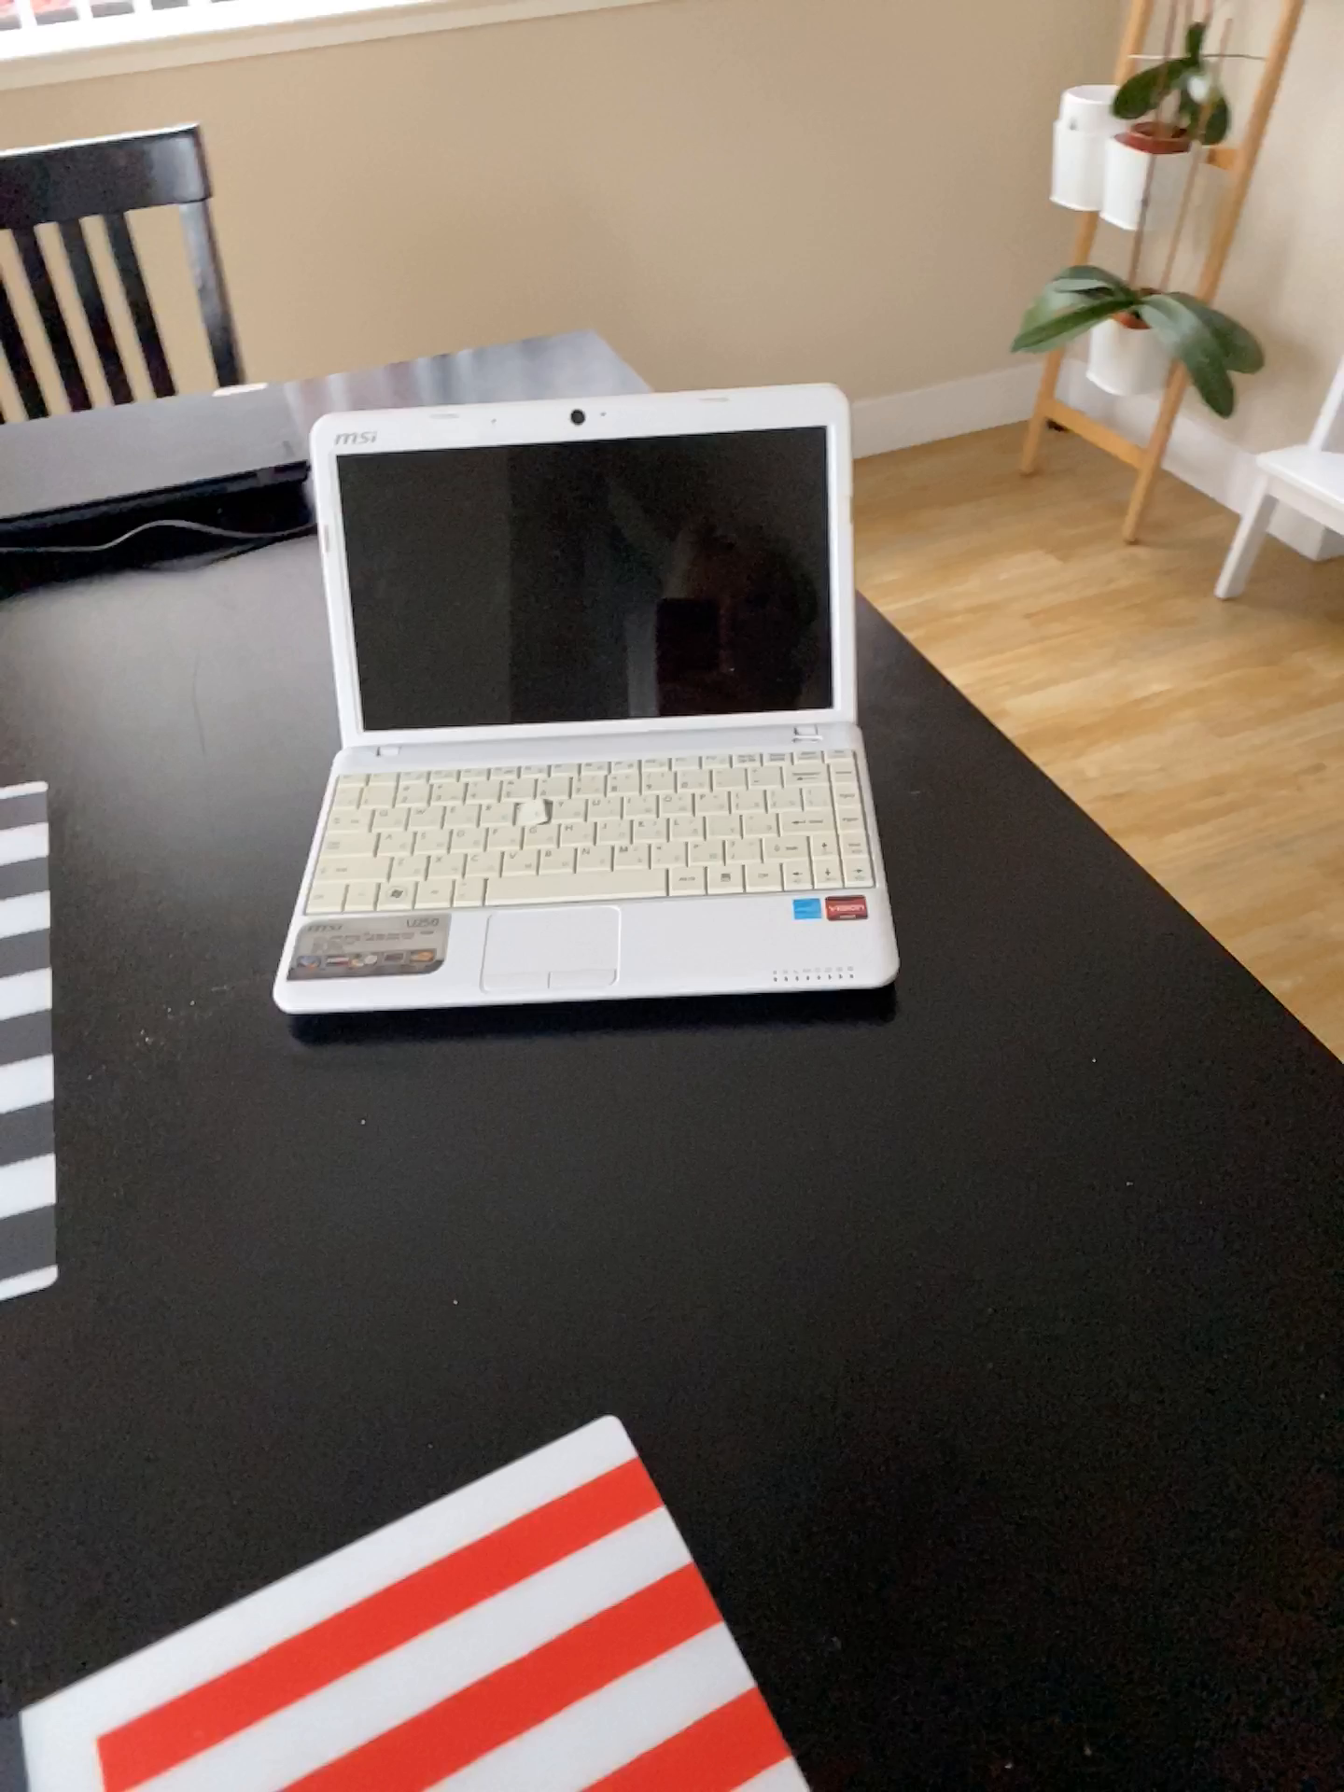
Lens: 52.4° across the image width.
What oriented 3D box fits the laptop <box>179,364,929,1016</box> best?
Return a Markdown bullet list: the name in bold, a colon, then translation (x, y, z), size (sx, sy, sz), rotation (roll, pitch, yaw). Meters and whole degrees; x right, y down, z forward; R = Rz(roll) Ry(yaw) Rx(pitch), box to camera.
- **laptop**: translation (-0.045, -0.116, 0.689), size (0.294, 0.153, 0.302), rotation (-3, 44, 2)
